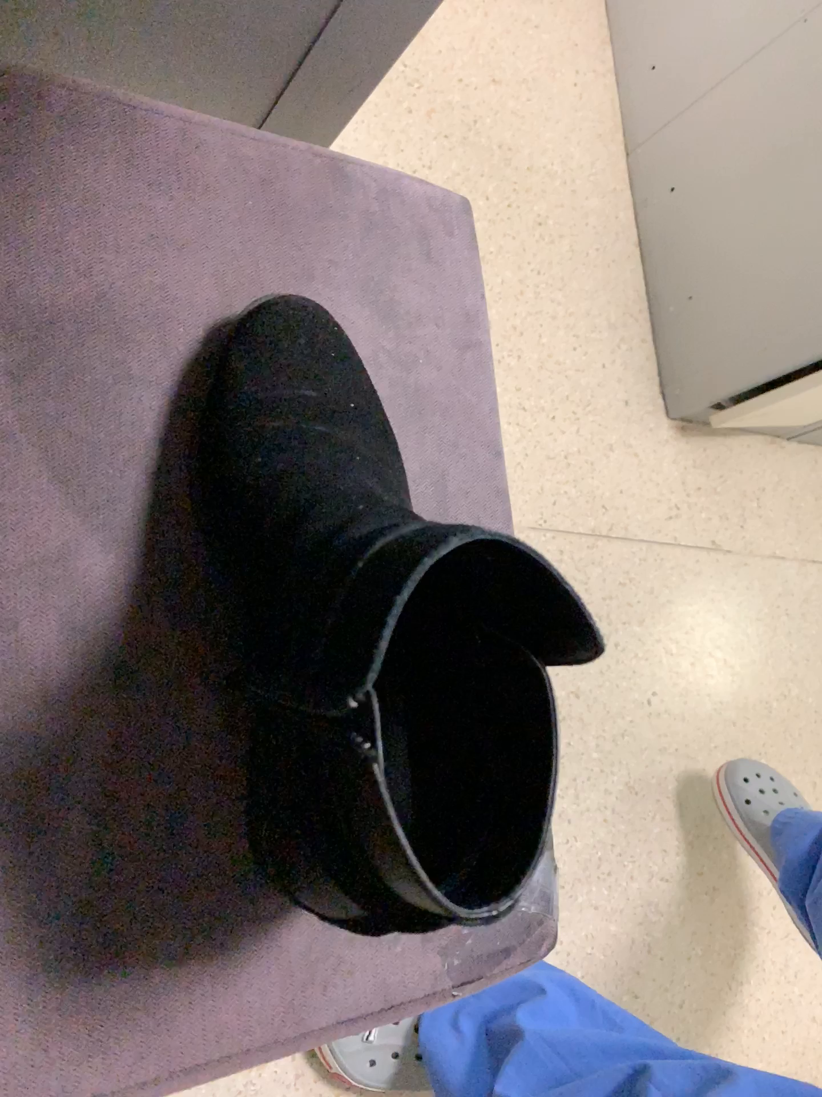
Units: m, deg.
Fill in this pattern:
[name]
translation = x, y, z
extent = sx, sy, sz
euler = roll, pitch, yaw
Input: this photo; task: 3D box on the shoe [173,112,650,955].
[shoe]
translation = -0.015, 0.000, 0.311
extent = 0.101, 0.137, 0.235
euler = 3, 76, -33
